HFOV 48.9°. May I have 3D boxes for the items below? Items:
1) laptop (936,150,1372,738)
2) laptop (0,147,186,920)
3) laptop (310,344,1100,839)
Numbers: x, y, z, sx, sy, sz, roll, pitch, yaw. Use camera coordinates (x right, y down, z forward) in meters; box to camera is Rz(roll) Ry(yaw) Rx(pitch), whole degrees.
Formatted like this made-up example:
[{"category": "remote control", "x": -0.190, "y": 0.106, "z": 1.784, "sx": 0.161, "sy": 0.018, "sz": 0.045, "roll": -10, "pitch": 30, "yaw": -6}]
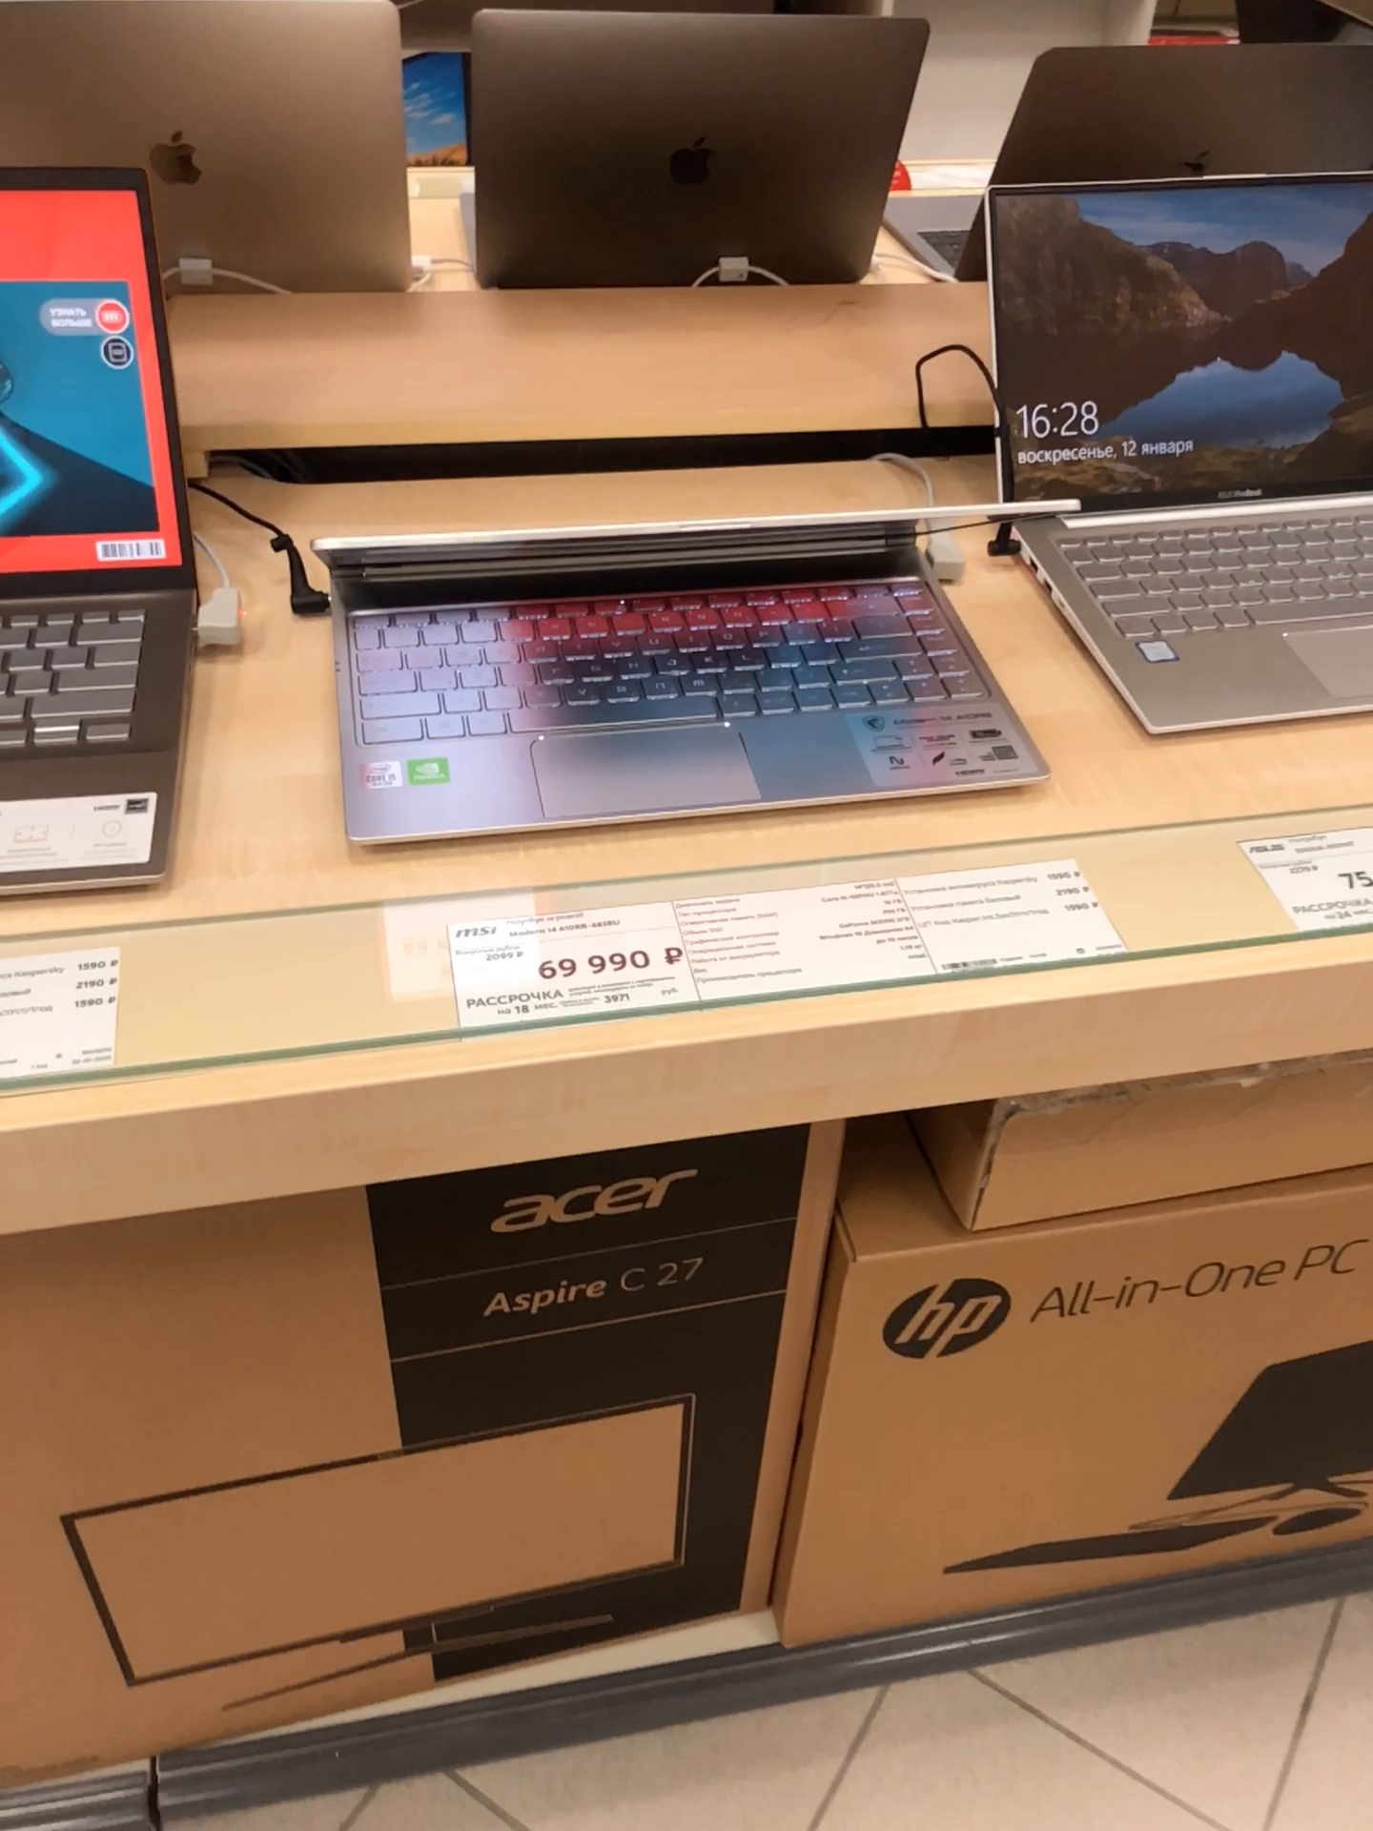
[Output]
[{"category": "laptop", "x": 0.354, "y": -0.275, "z": 0.832, "sx": 0.325, "sy": 0.154, "sz": 0.302, "roll": -8, "pitch": 46, "yaw": -11}, {"category": "laptop", "x": -0.395, "y": -0.183, "z": 0.648, "sx": 0.310, "sy": 0.169, "sz": 0.315, "roll": -5, "pitch": 44, "yaw": -11}, {"category": "laptop", "x": -0.007, "y": -0.166, "z": 0.721, "sx": 0.321, "sy": 0.112, "sz": 0.217, "roll": -6, "pitch": 44, "yaw": -10}]
